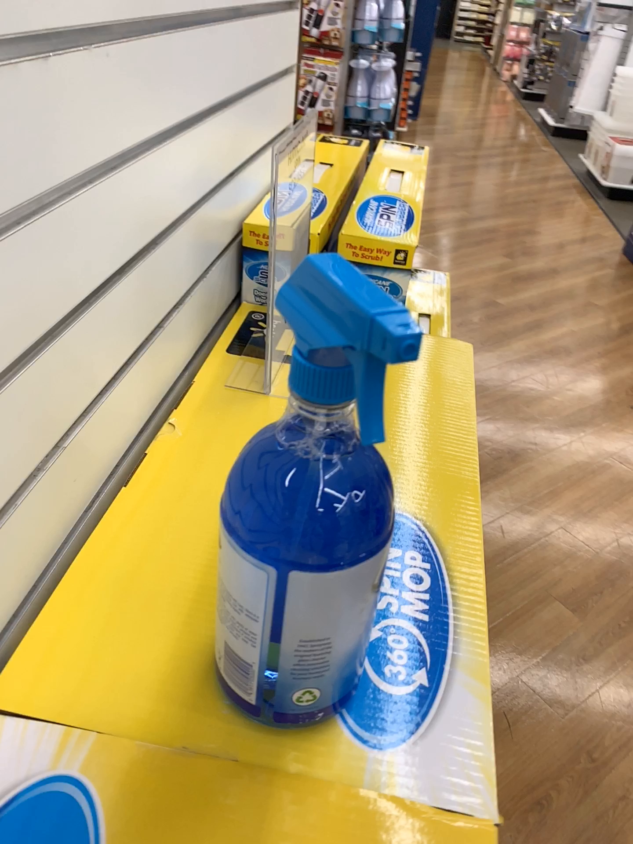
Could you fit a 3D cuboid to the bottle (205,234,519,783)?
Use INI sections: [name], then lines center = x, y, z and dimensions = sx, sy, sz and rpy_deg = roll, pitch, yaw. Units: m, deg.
[bottle]
center = -0.002, 0.047, 0.309
dimensions = 0.090, 0.239, 0.111
rpy_deg = -3, 36, -13
